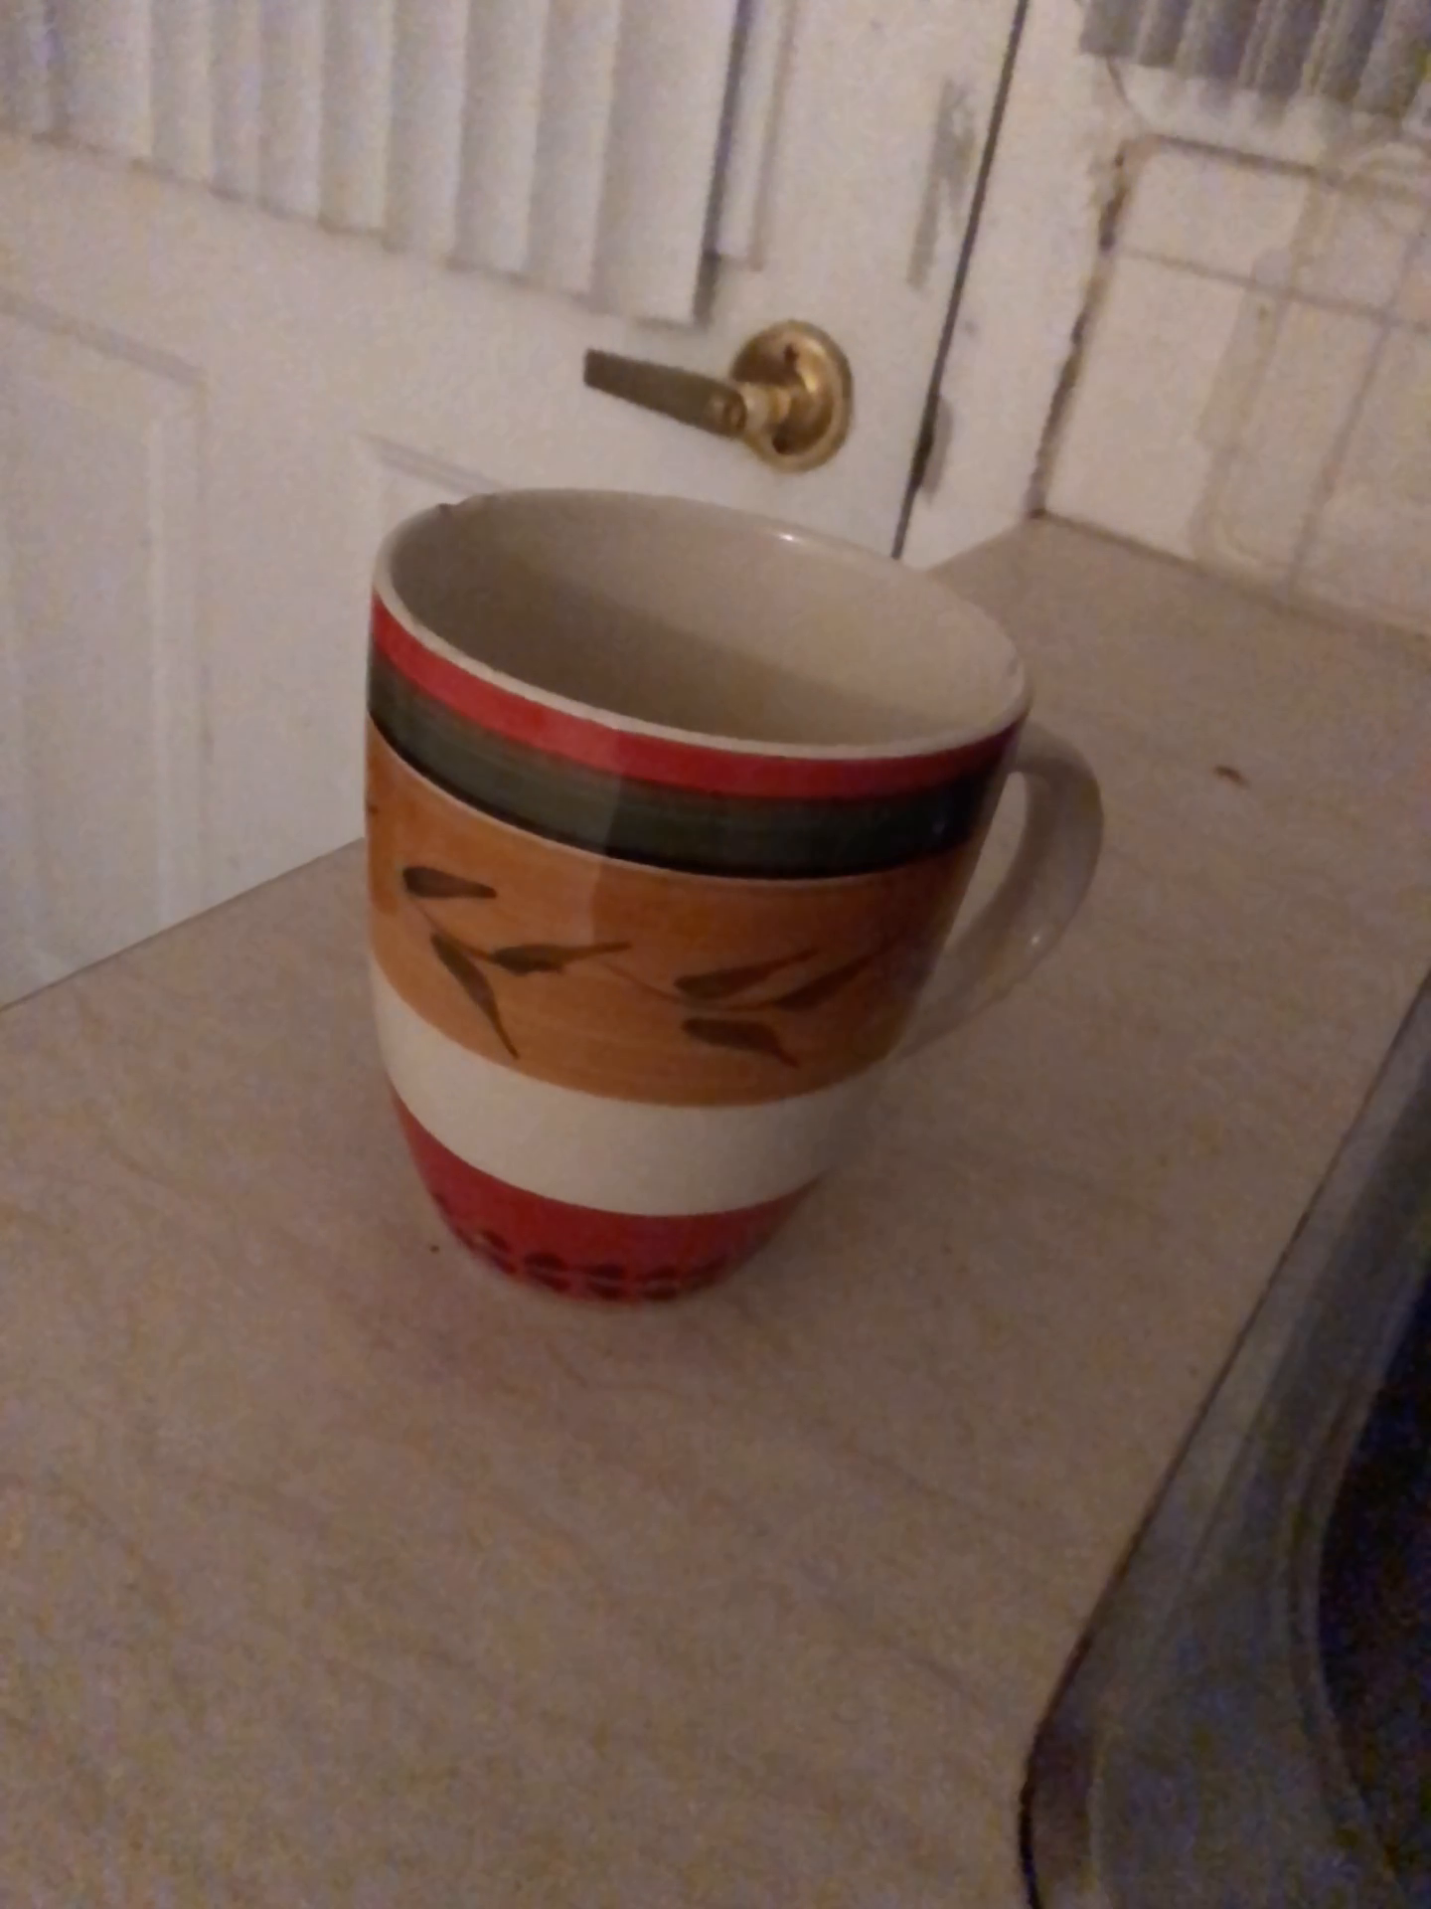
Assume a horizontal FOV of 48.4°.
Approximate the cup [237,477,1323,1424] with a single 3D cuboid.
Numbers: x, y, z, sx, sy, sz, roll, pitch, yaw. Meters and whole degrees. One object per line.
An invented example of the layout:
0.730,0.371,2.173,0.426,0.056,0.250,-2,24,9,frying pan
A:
0.003,-0.013,0.281,0.143,0.109,0.101,-10,38,-31,cup
